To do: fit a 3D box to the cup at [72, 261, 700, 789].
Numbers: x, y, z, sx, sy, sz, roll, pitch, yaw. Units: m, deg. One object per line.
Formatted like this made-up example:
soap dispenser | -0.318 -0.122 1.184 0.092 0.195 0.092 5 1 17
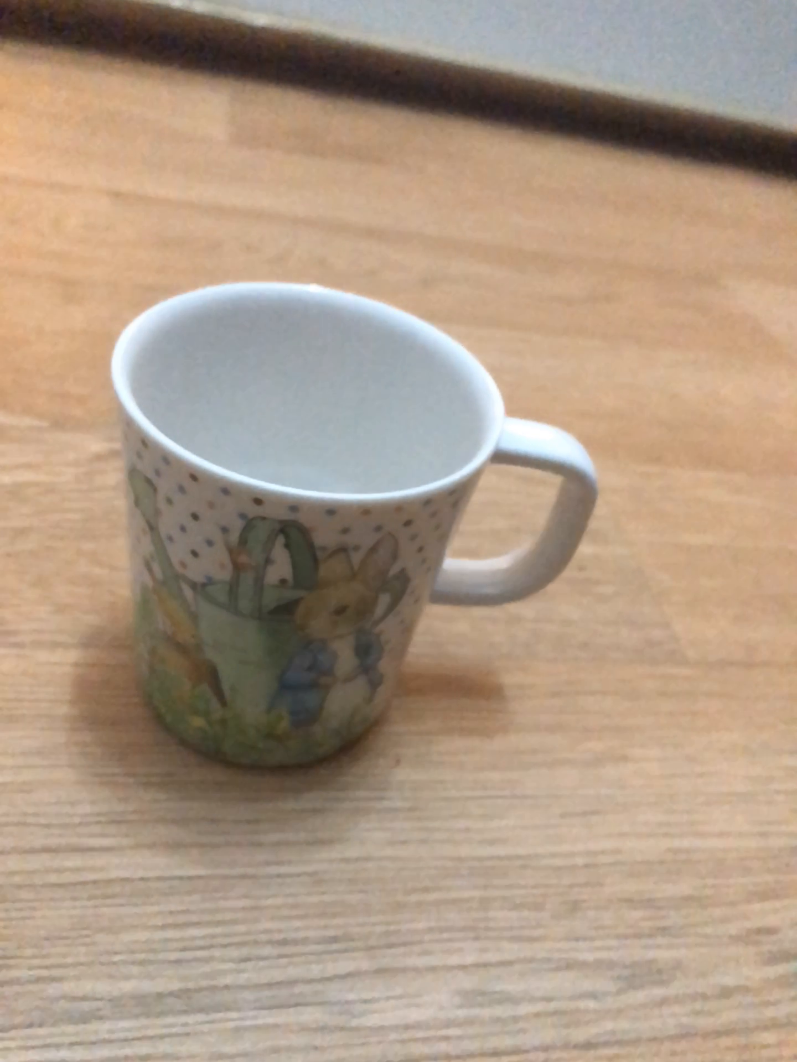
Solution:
cup | -0.009 0.000 0.209 0.110 0.079 0.080 6 39 -11
